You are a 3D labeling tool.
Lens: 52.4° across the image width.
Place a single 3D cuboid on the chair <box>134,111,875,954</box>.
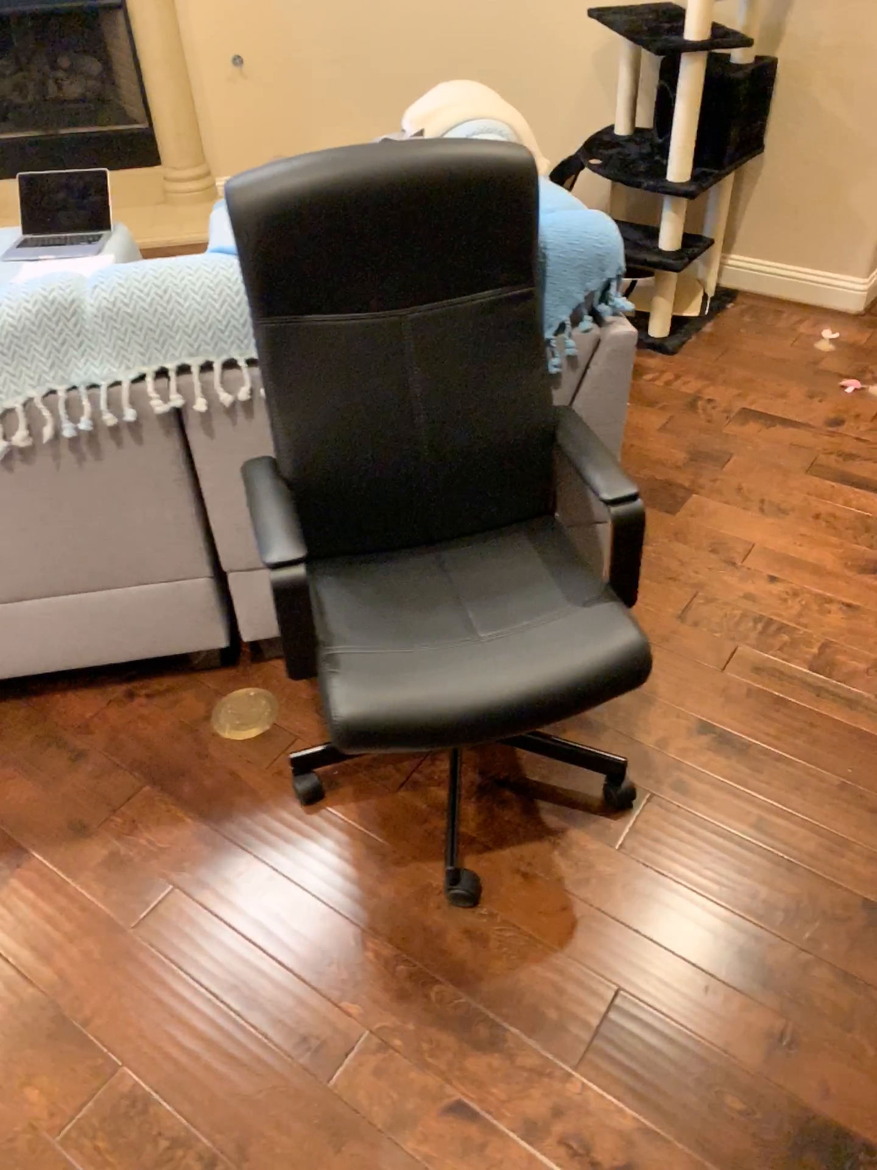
[{"bbox_3d":[0.020,-0.088,1.471,0.734,1.037,0.763,-10,41,-8],"label":"chair"}]
